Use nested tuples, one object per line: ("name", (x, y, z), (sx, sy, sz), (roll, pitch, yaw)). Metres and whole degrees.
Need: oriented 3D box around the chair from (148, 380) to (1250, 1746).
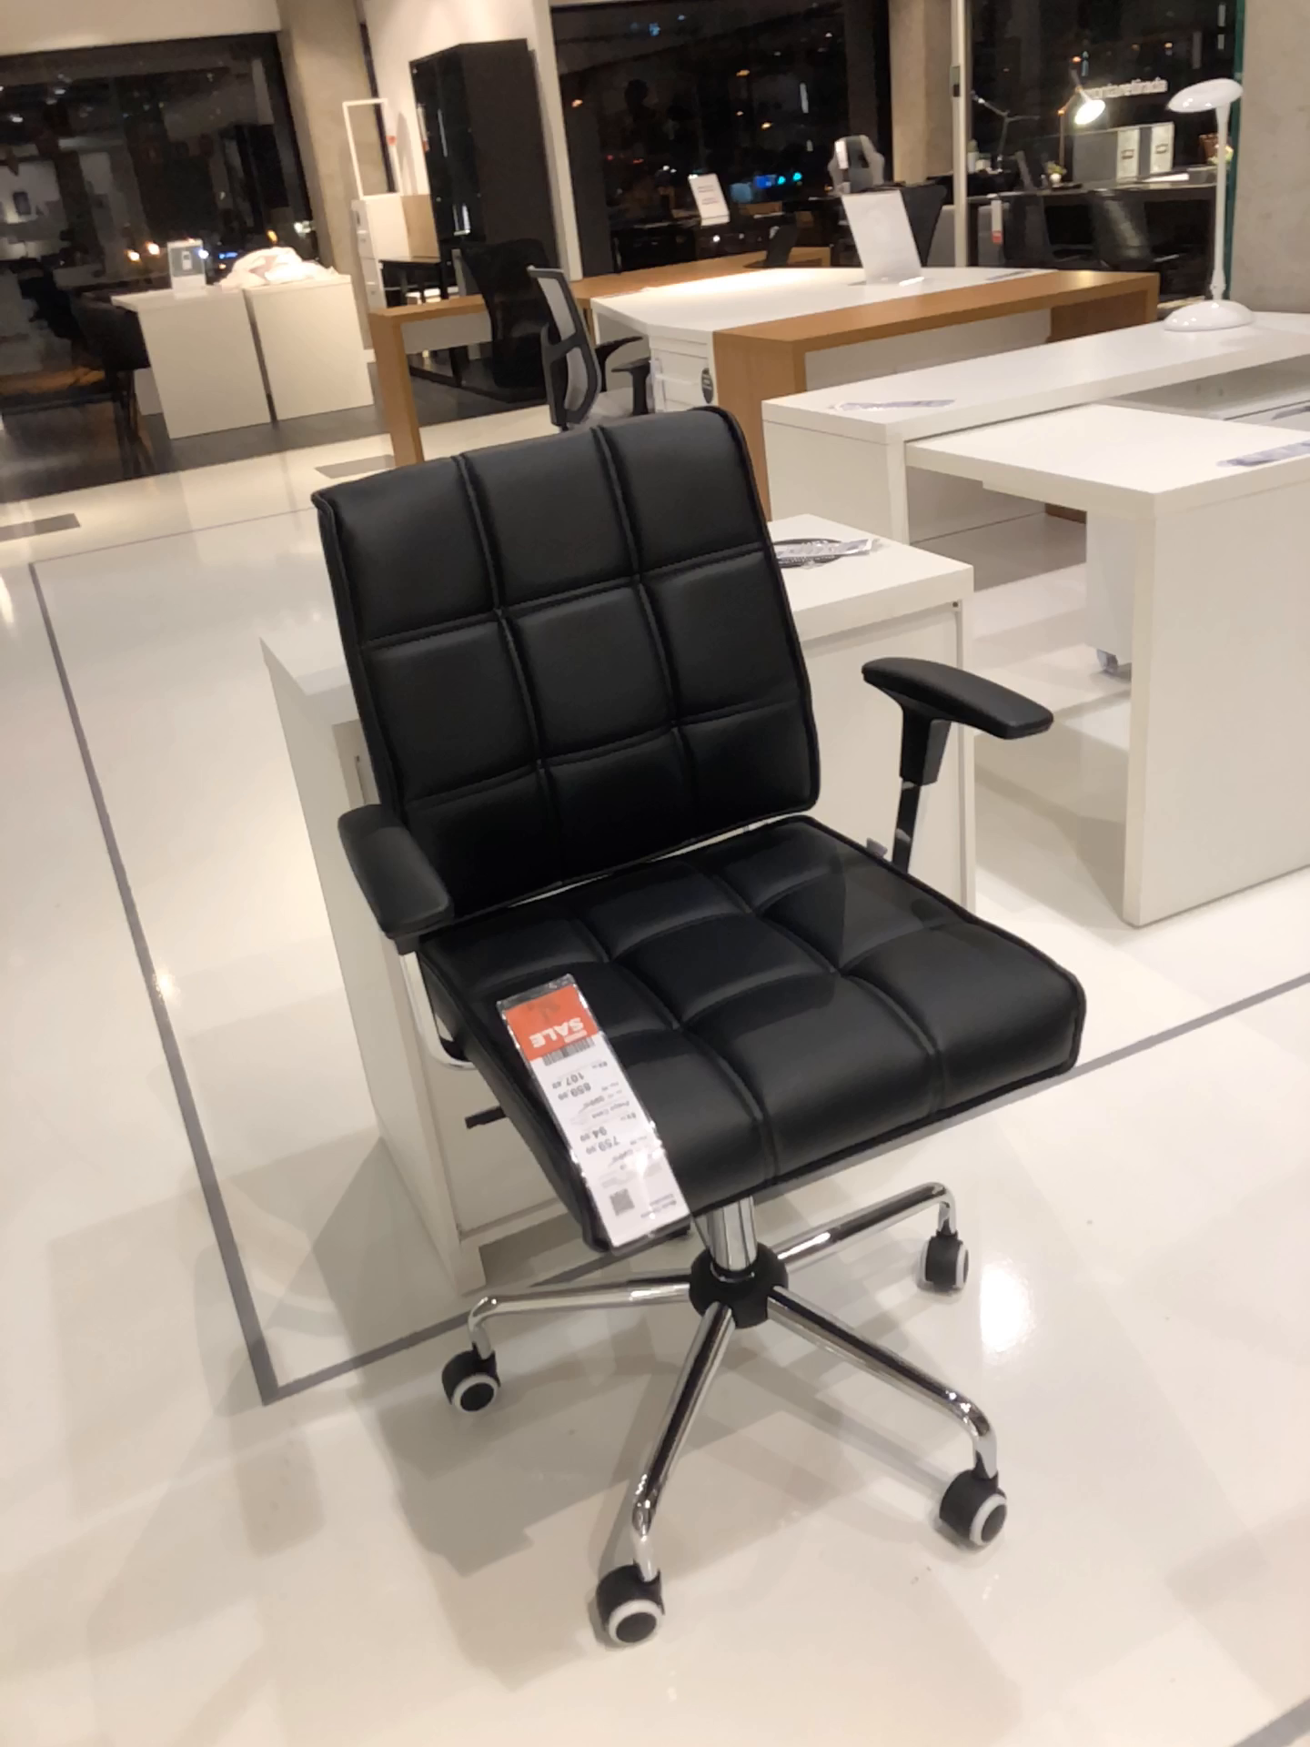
("chair", (0.016, 0.083, 1.370), (0.621, 0.913, 0.744), (-19, 28, -22))
